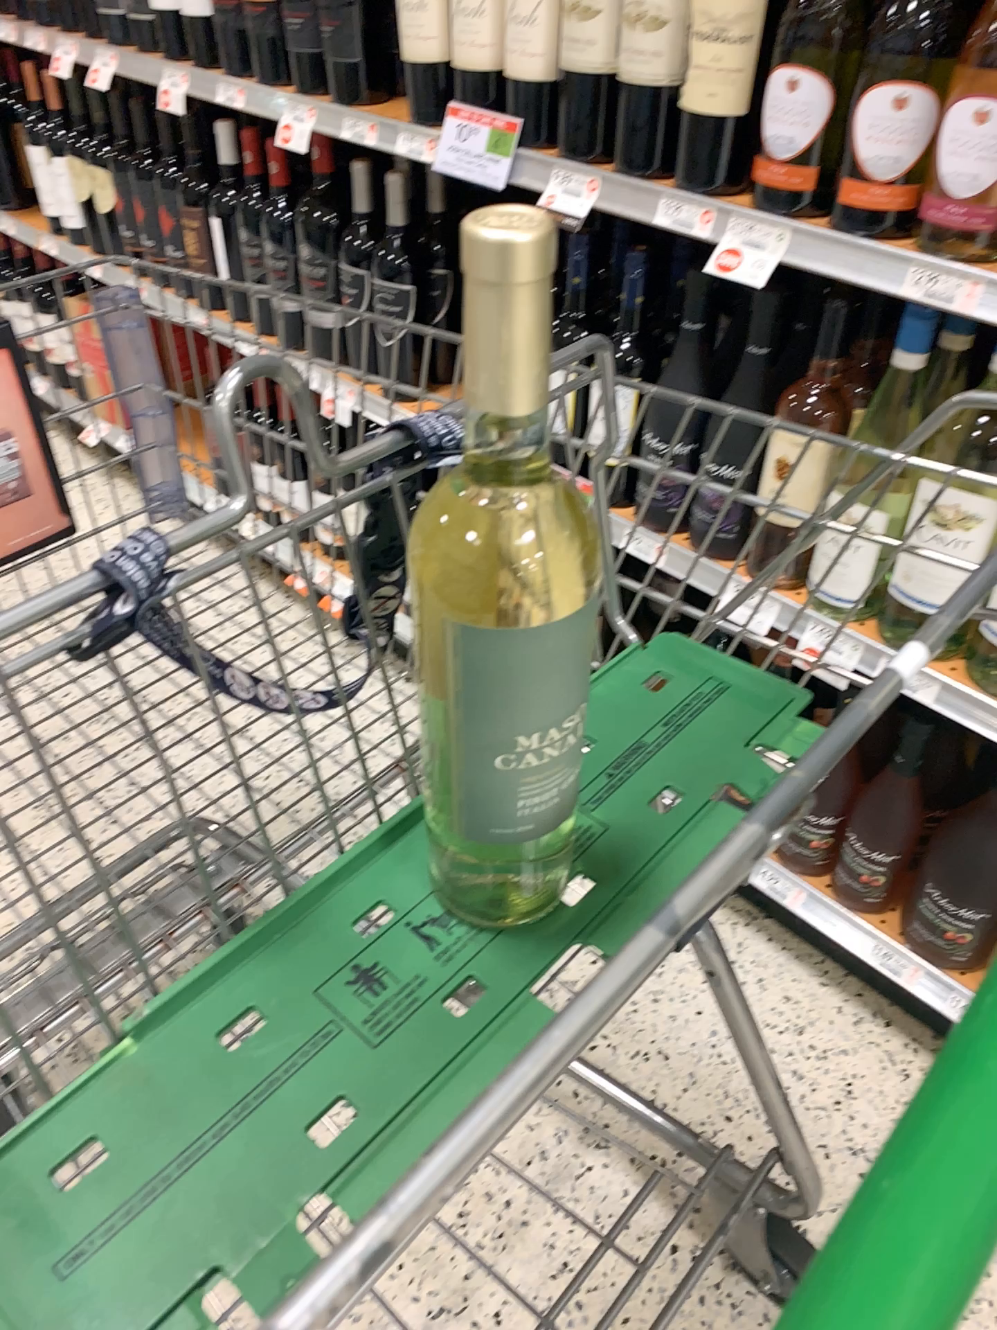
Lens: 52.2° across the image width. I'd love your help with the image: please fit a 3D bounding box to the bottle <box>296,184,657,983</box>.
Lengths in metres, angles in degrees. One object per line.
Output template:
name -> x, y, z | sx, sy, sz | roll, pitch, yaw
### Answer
bottle -> -0.009, -0.012, 0.443 | 0.080, 0.336, 0.091 | -29, 47, -31
